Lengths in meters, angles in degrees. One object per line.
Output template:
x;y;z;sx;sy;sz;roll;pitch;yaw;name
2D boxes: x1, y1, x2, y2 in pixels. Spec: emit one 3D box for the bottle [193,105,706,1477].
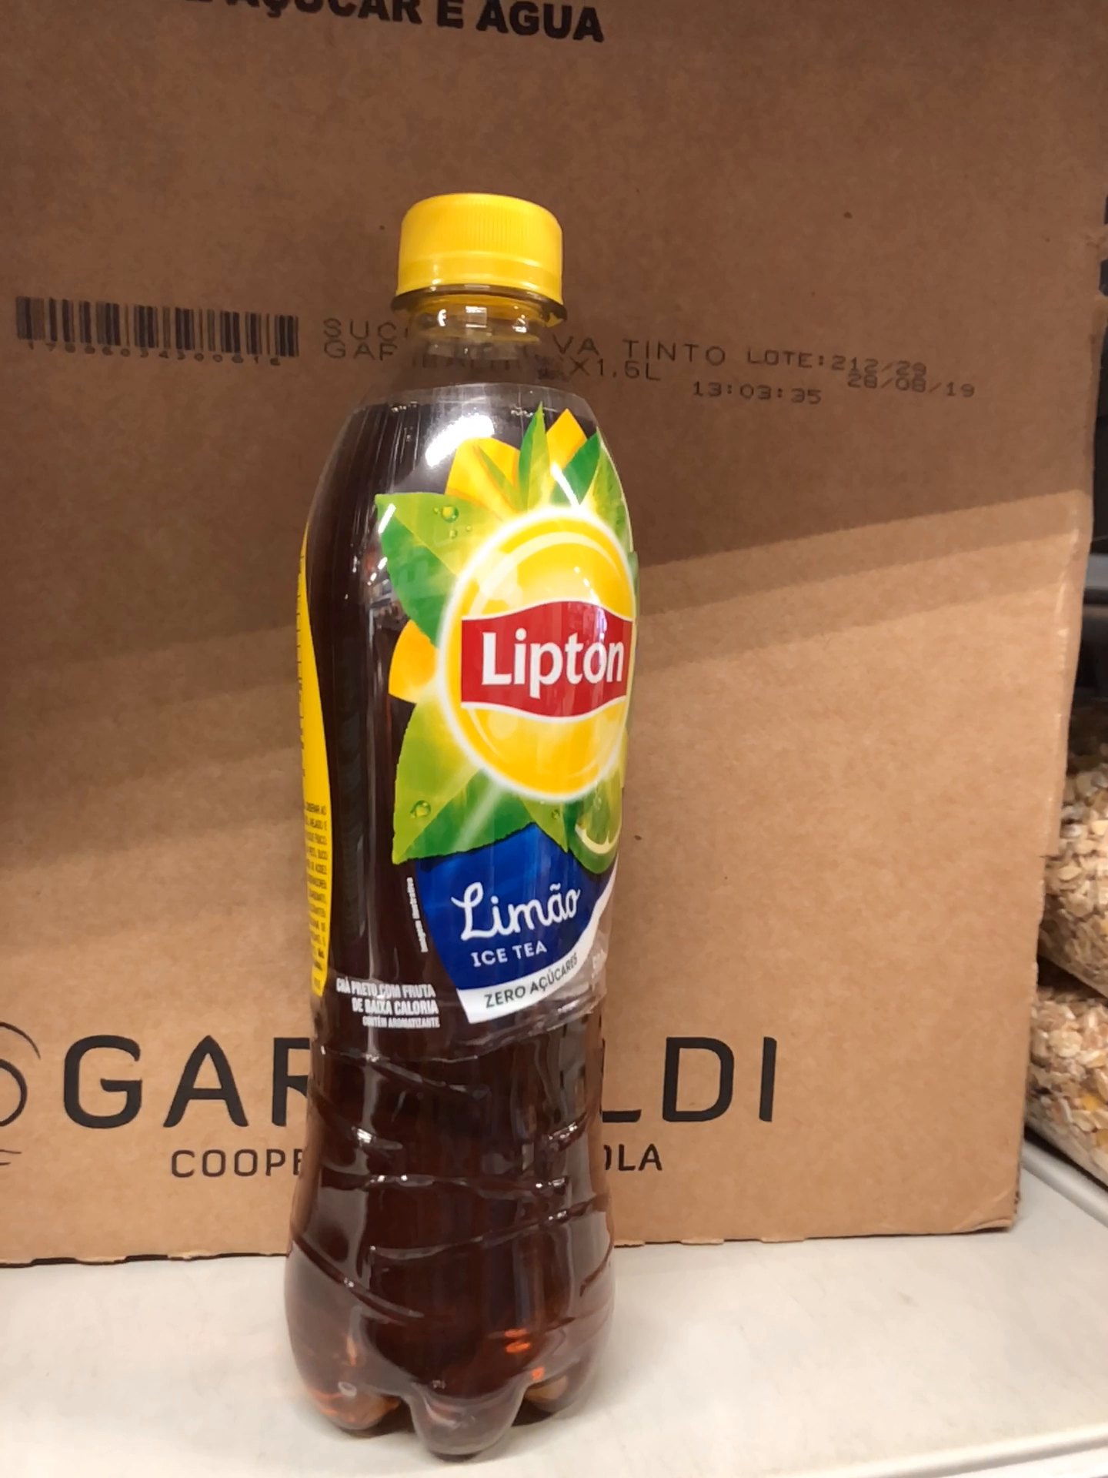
-0.023;0.013;0.232;0.070;0.220;0.060;-2;7;-33;bottle
